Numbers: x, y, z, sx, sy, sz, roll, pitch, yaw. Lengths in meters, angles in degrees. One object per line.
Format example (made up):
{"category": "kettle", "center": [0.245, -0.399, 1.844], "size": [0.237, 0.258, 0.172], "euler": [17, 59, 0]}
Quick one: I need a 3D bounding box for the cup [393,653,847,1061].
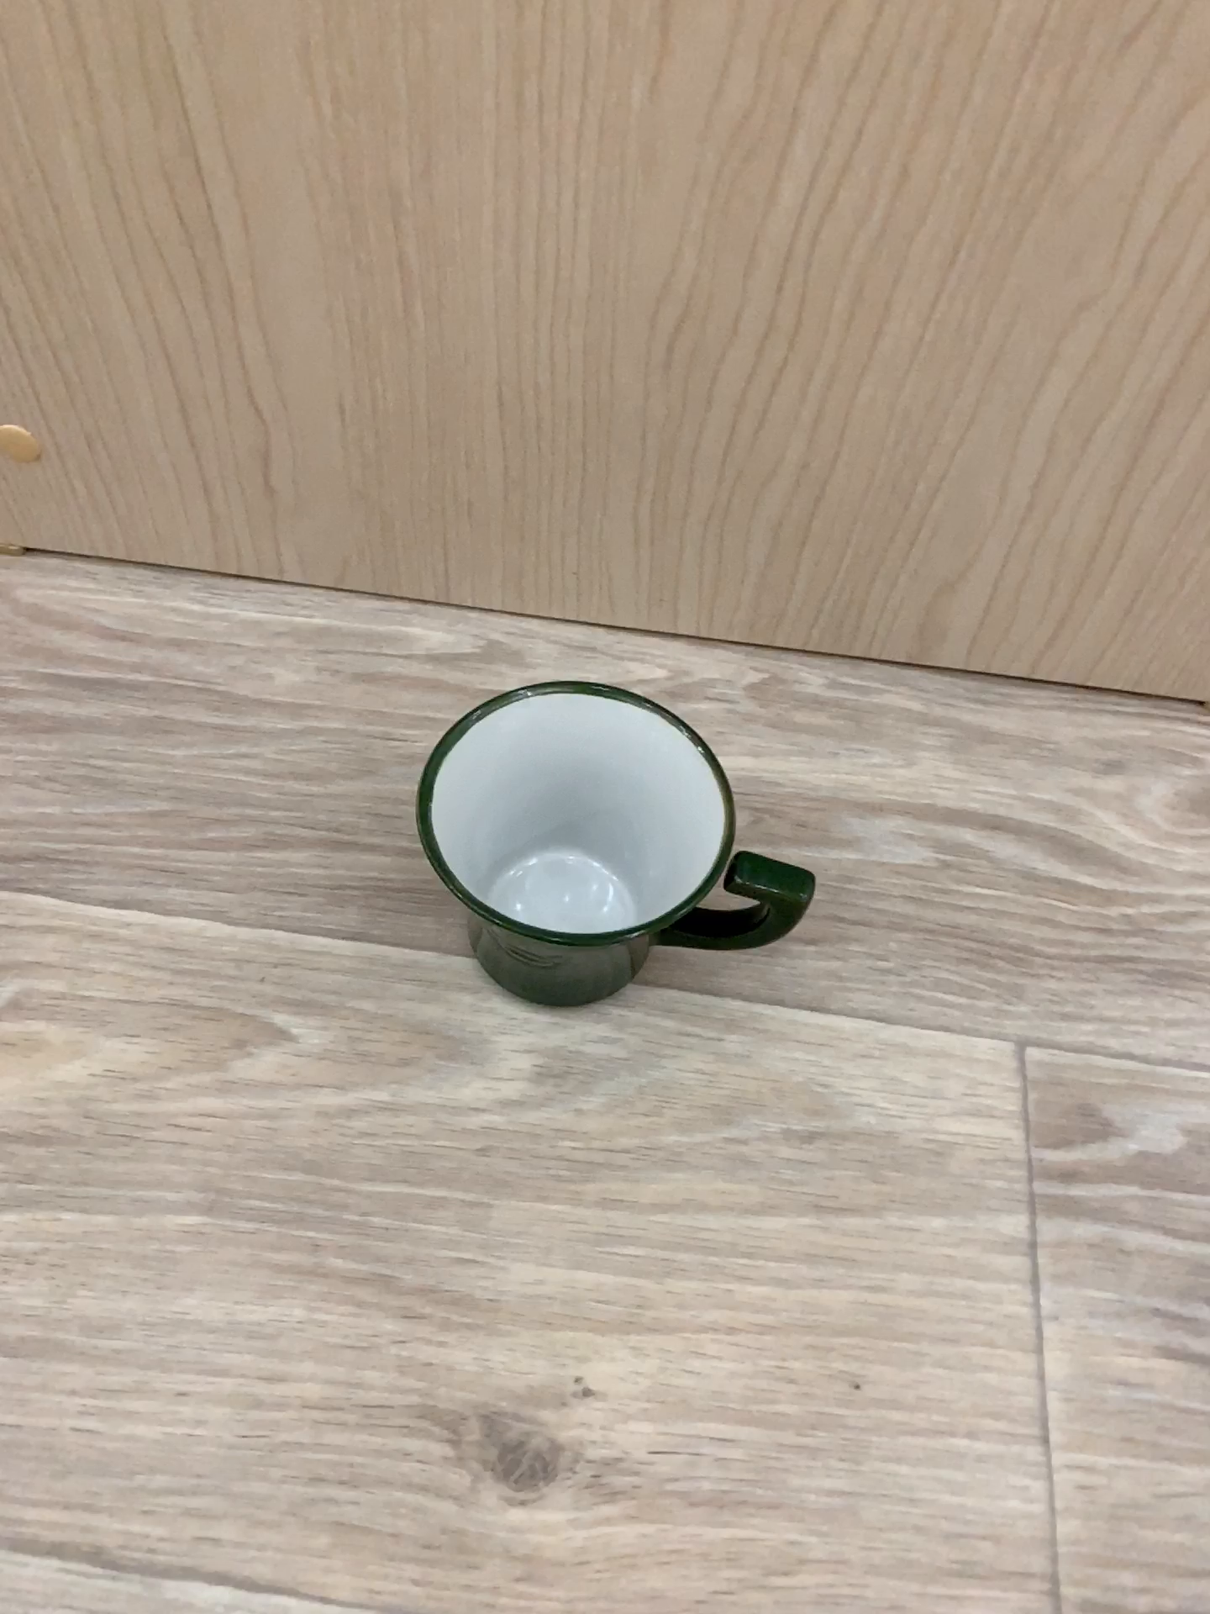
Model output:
{"category": "cup", "center": [0.005, 0.014, 0.344], "size": [0.106, 0.061, 0.074], "euler": [10, 55, 2]}
